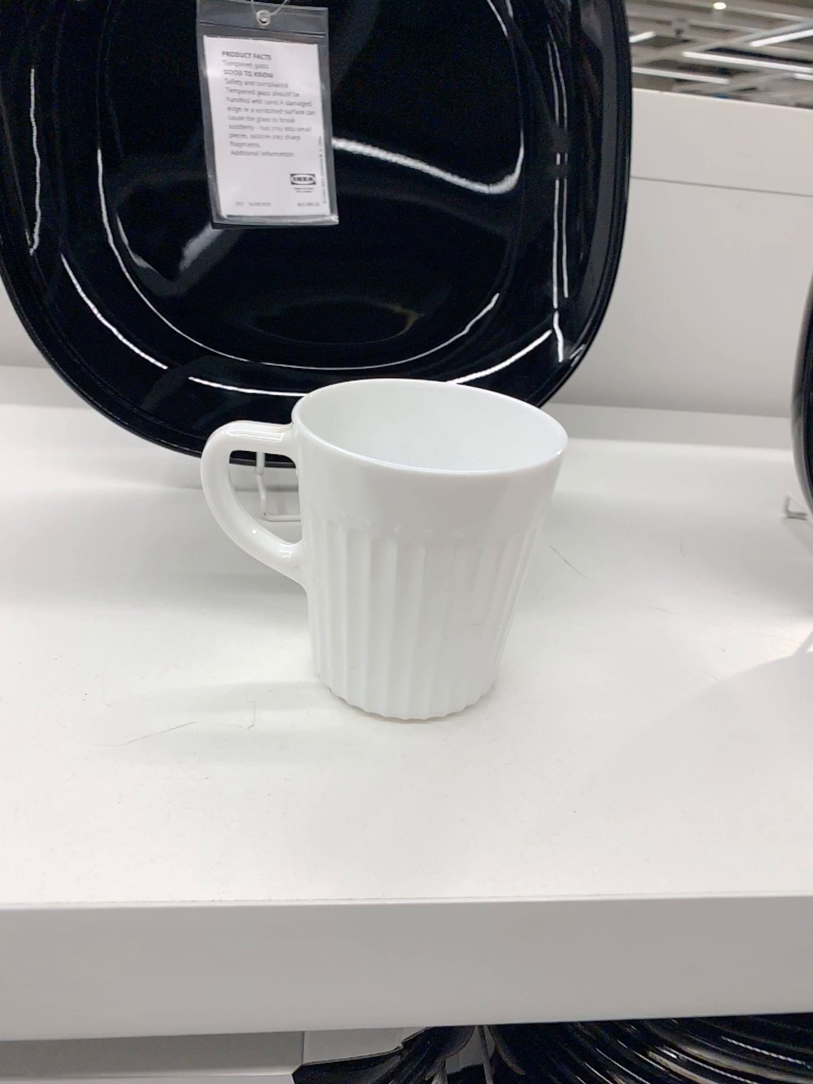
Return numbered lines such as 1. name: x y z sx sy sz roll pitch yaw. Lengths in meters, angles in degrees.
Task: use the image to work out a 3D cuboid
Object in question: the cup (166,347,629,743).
1. cup: -0.005 -0.004 0.257 0.110 0.080 0.090 5 25 -2
